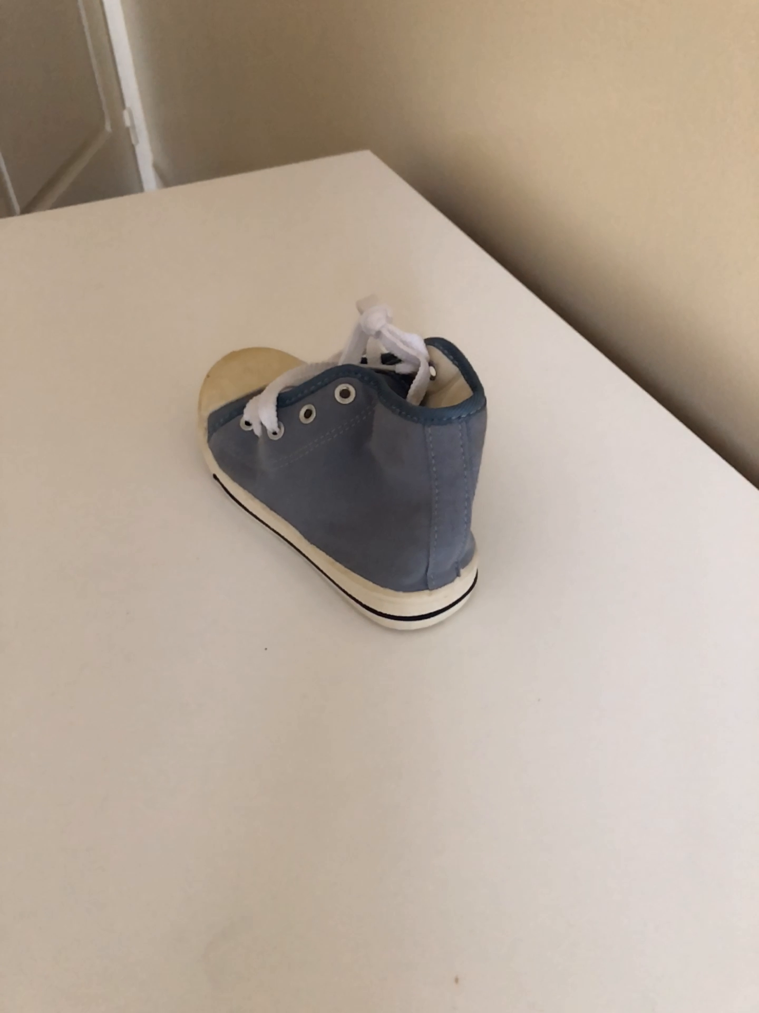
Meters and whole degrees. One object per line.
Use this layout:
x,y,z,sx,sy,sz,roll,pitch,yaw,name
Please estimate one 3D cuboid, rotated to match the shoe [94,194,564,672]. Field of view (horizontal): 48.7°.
-0.028,-0.042,0.351,0.080,0.099,0.190,-30,50,-27,shoe
